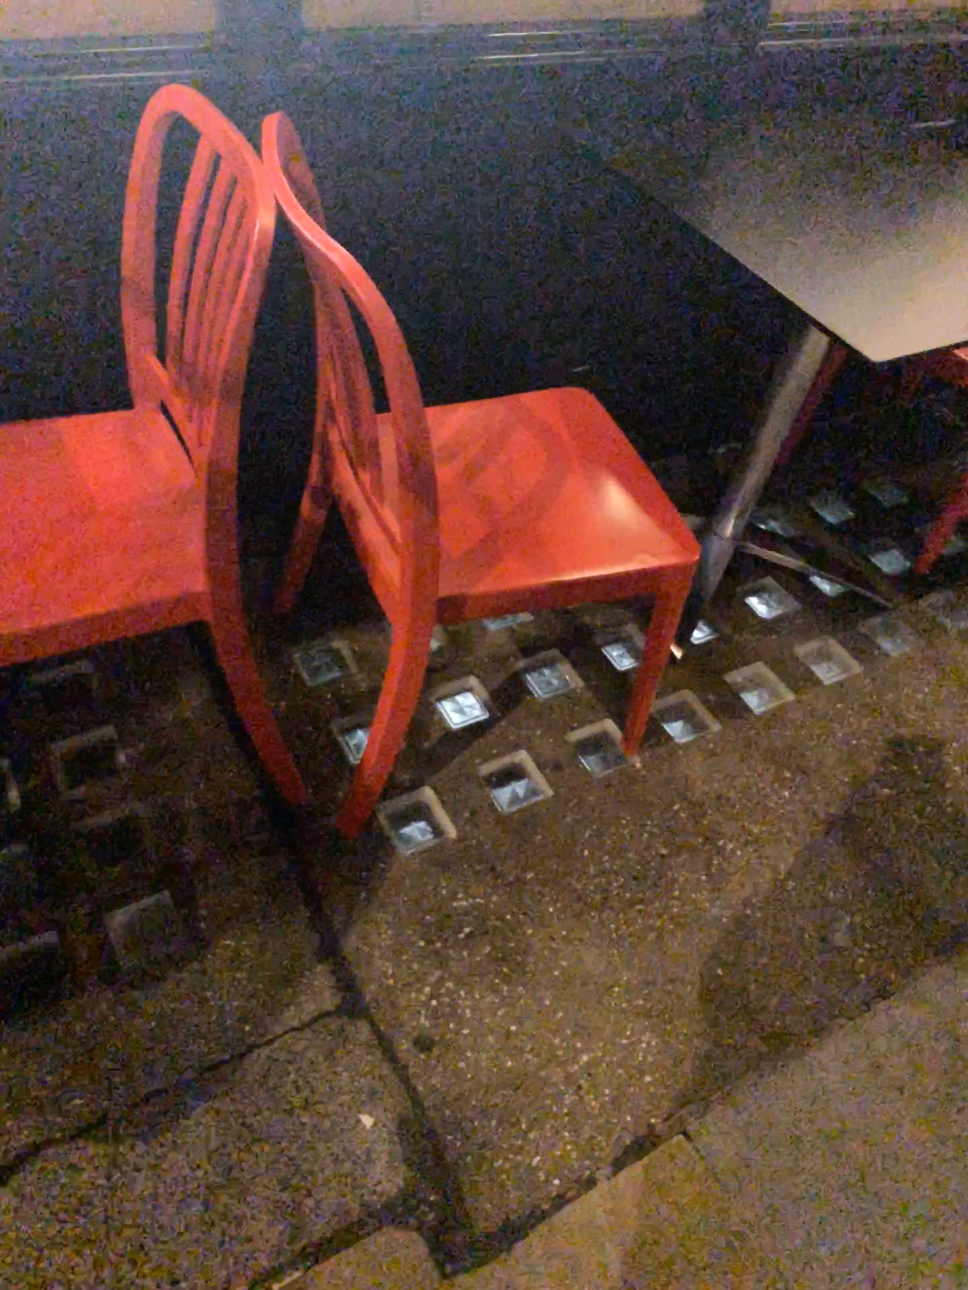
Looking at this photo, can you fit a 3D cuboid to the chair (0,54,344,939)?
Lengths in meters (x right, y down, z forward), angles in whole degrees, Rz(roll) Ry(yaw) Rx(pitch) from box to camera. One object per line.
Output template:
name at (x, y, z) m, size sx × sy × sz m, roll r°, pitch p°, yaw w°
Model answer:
chair at (-0.536, -0.175, 1.235) m, size 0.541 × 0.851 × 0.544 m, roll -17°, pitch 50°, yaw -23°

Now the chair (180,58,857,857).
chair at (-0.028, -0.257, 1.380) m, size 0.561 × 0.851 × 0.575 m, roll -14°, pitch 48°, yaw -21°
